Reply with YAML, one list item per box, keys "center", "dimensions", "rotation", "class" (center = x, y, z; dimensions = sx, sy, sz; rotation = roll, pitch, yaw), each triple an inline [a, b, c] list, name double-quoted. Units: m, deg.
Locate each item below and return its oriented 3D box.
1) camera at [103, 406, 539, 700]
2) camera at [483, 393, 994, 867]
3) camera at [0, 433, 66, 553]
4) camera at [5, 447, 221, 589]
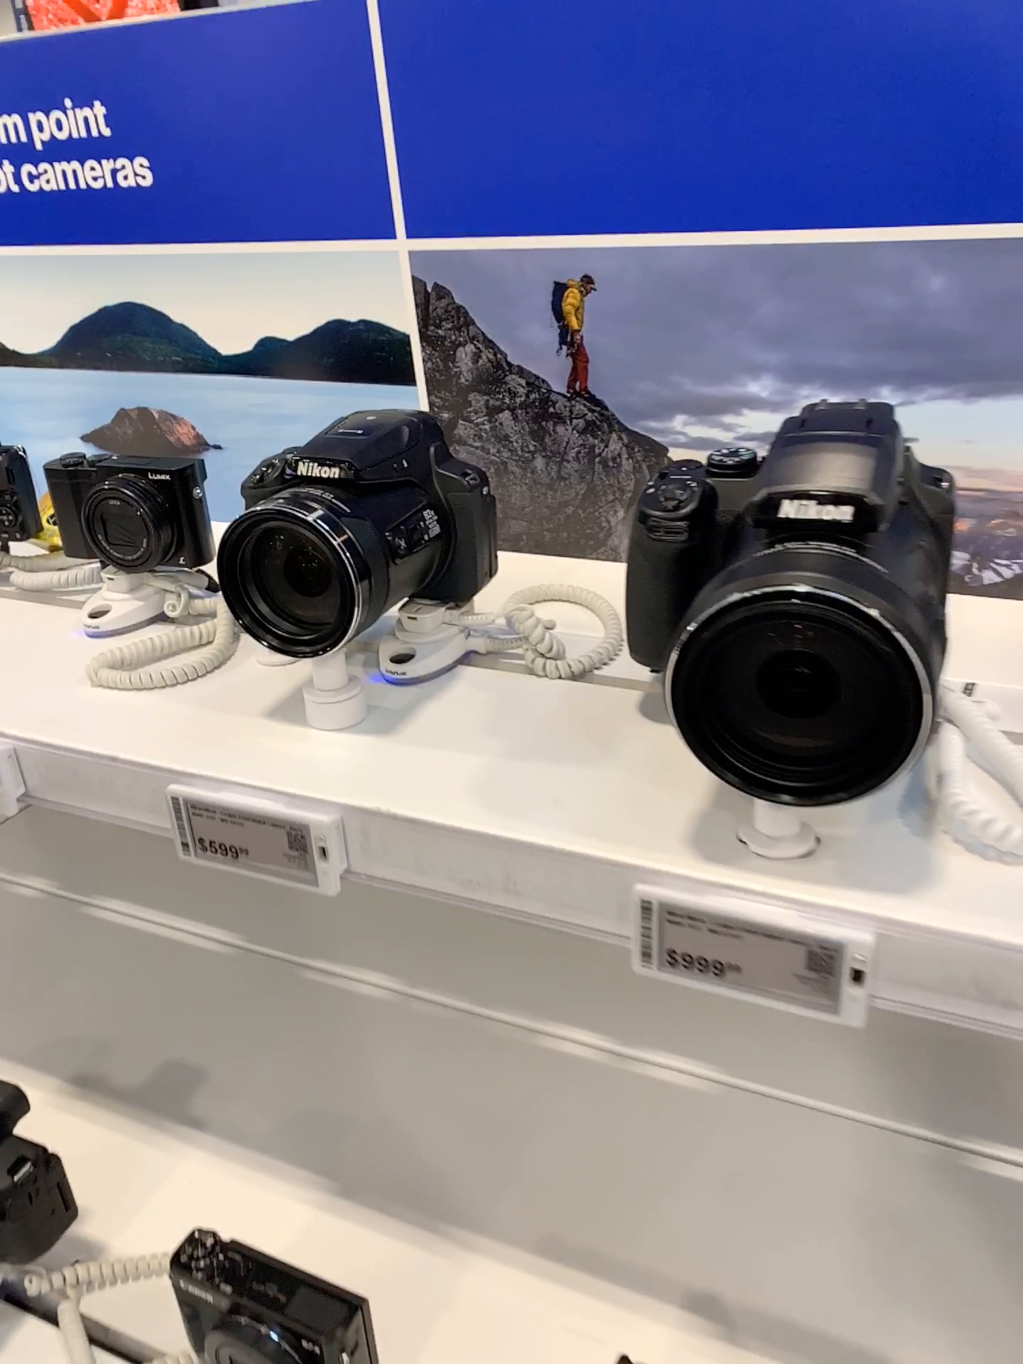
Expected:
- center: [-0.090, -0.078, 0.555]
  dimensions: [0.160, 0.099, 0.151]
  rotation: [7, 28, 22]
  class: "camera"
- center: [0.108, -0.044, 0.445]
  dimensions: [0.160, 0.109, 0.221]
  rotation: [7, 28, 21]
  class: "camera"
- center: [-0.386, -0.133, 0.732]
  dimensions: [0.120, 0.070, 0.050]
  rotation: [4, 26, 15]
  class: "camera"
- center: [-0.248, -0.105, 0.658]
  dimensions: [0.110, 0.070, 0.050]
  rotation: [8, 28, 22]
  class: "camera"
